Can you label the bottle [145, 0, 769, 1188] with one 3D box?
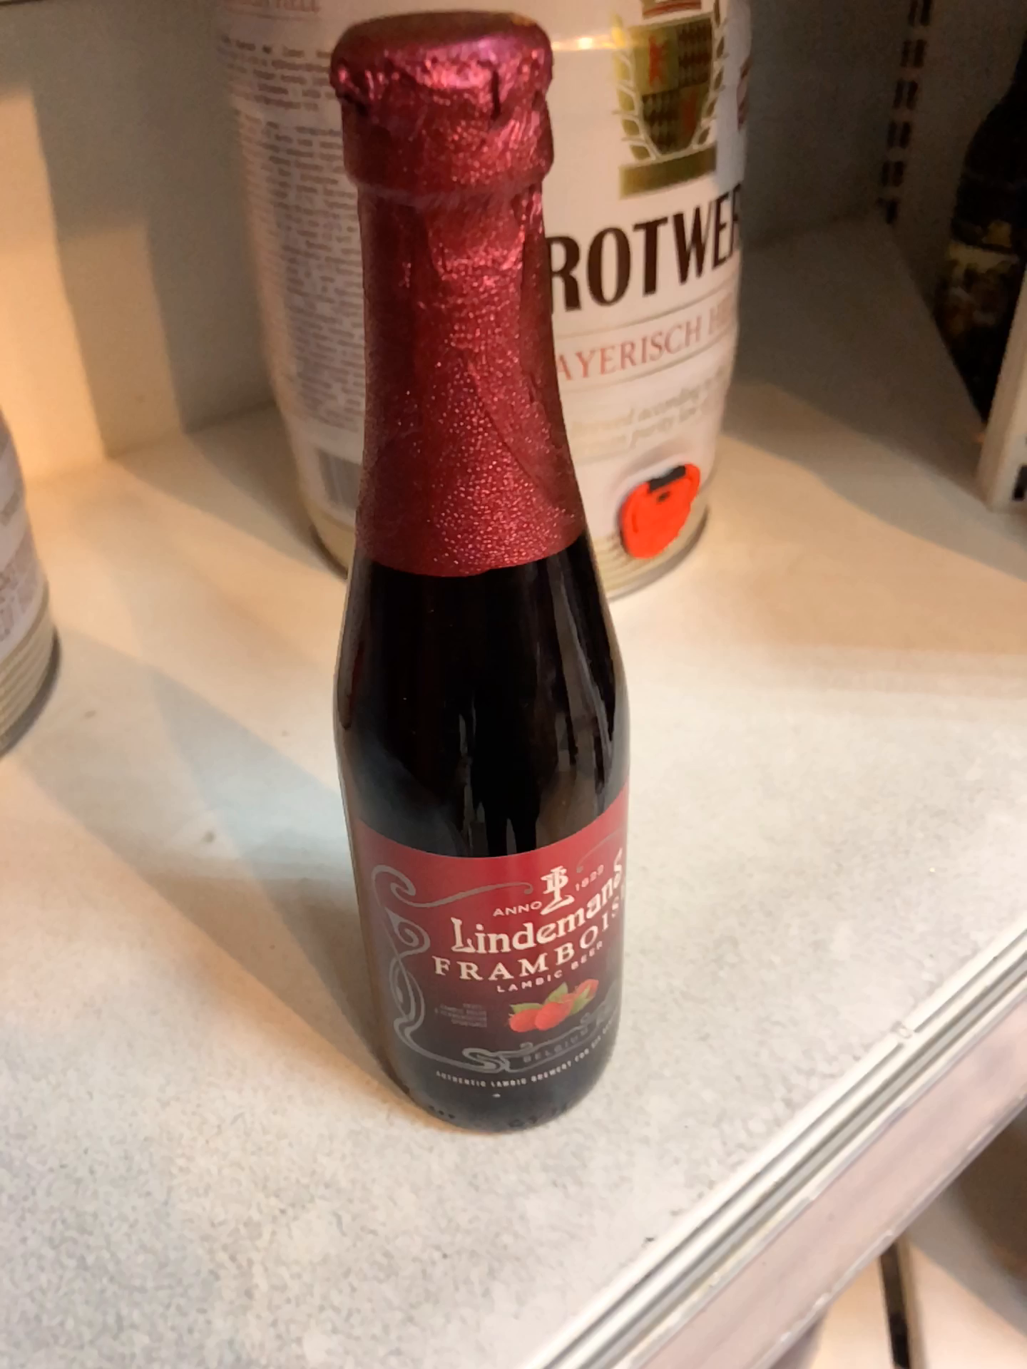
[{"bbox_3d":[-0.007,-0.001,0.202,0.058,0.199,0.058,-1,38,1],"label":"bottle"}]
